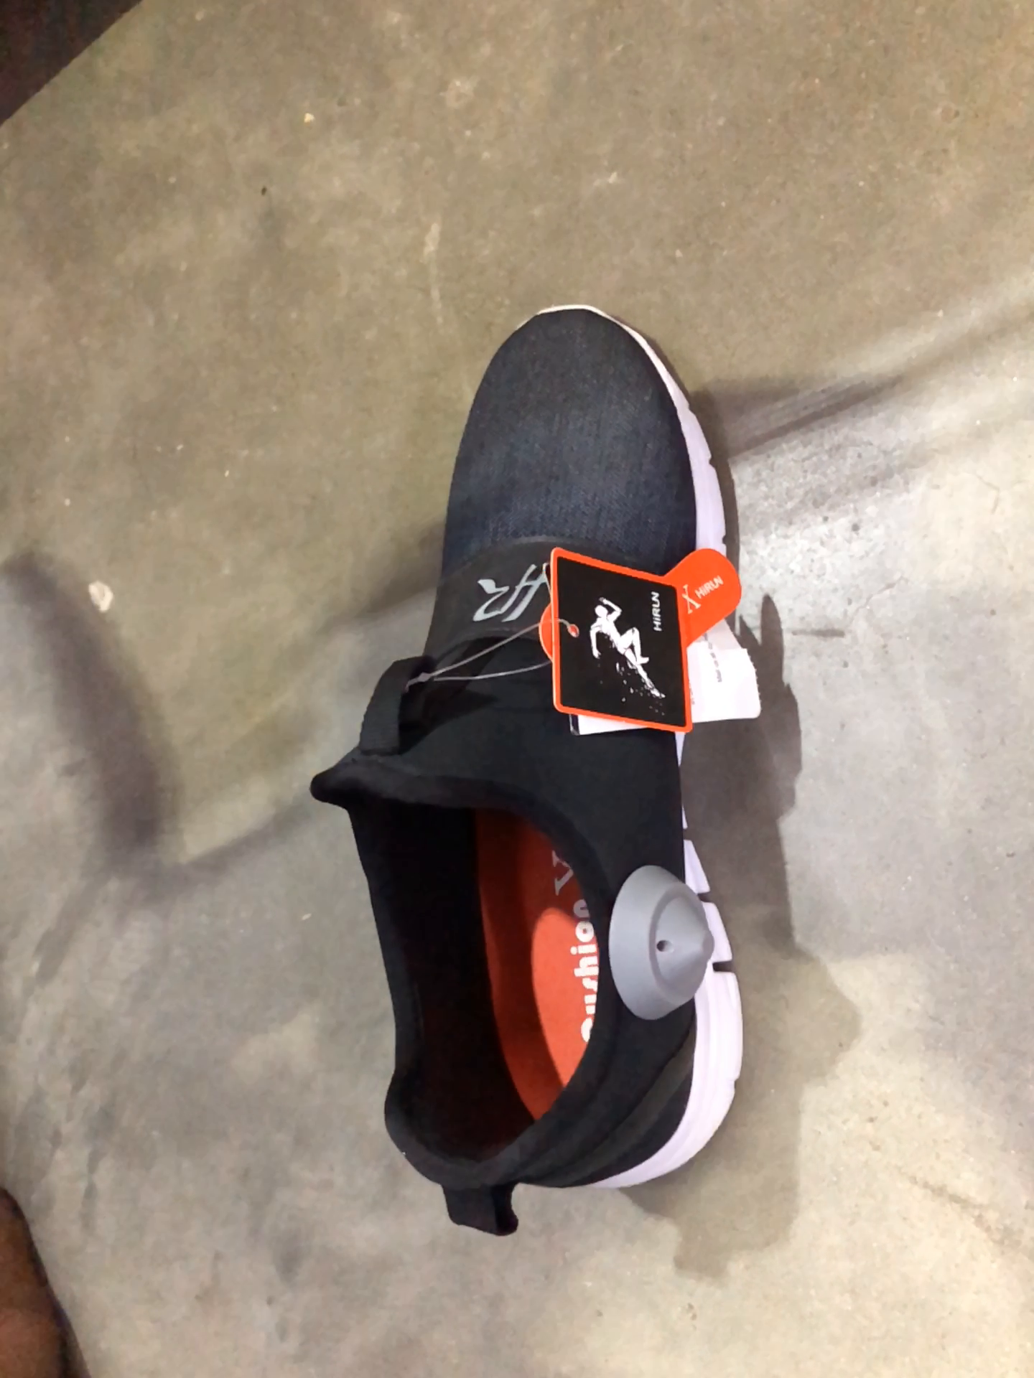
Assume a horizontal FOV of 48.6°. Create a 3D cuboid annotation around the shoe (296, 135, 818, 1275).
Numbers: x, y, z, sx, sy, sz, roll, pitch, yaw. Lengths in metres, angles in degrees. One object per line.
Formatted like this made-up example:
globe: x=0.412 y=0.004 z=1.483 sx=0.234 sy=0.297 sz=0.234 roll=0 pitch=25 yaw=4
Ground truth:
shoe: x=0.014 y=0.006 z=0.348 sx=0.100 sy=0.129 sz=0.270 roll=-7 pitch=79 yaw=28
